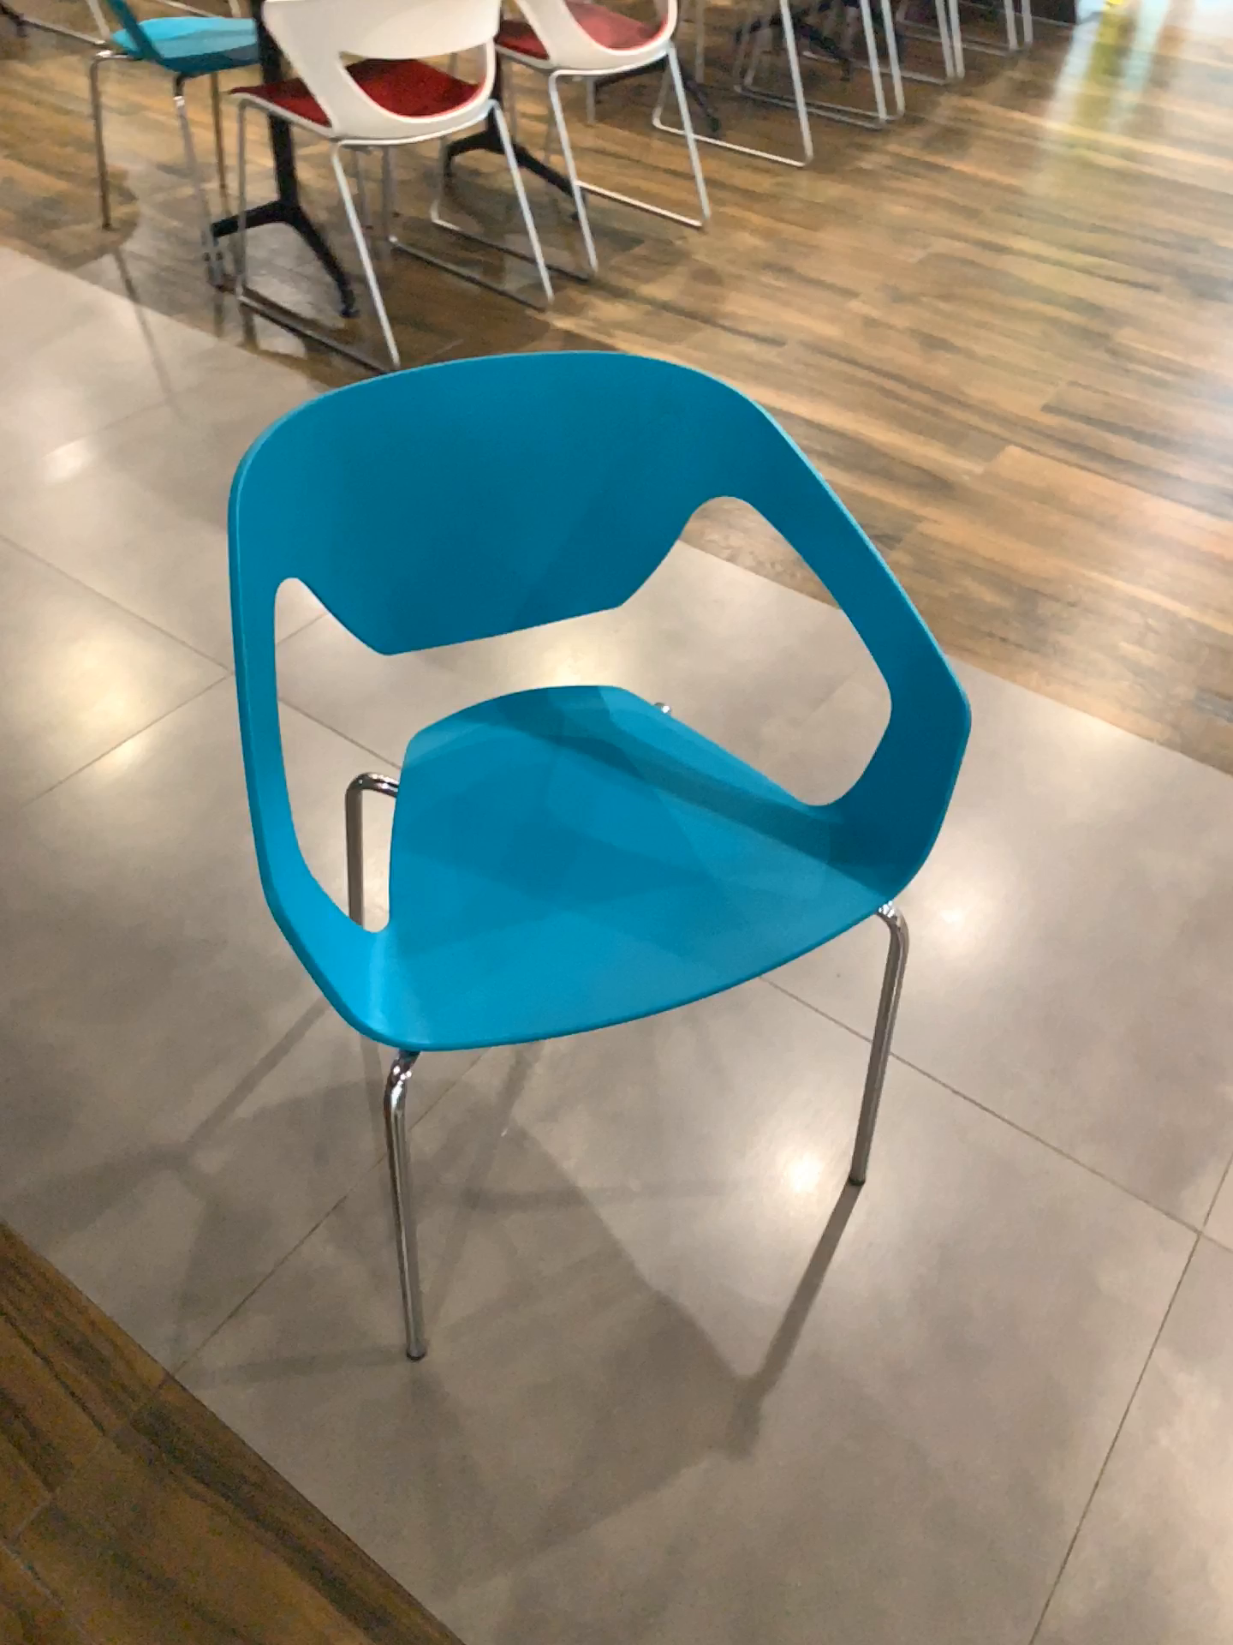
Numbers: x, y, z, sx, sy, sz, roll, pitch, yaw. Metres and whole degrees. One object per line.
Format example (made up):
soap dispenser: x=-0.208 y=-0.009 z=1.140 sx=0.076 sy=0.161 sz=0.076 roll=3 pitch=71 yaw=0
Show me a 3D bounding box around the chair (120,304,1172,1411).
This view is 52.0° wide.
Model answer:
chair: x=-0.034 y=0.021 z=1.209 sx=0.611 sy=0.724 sz=0.594 roll=-15 pitch=48 yaw=-17
